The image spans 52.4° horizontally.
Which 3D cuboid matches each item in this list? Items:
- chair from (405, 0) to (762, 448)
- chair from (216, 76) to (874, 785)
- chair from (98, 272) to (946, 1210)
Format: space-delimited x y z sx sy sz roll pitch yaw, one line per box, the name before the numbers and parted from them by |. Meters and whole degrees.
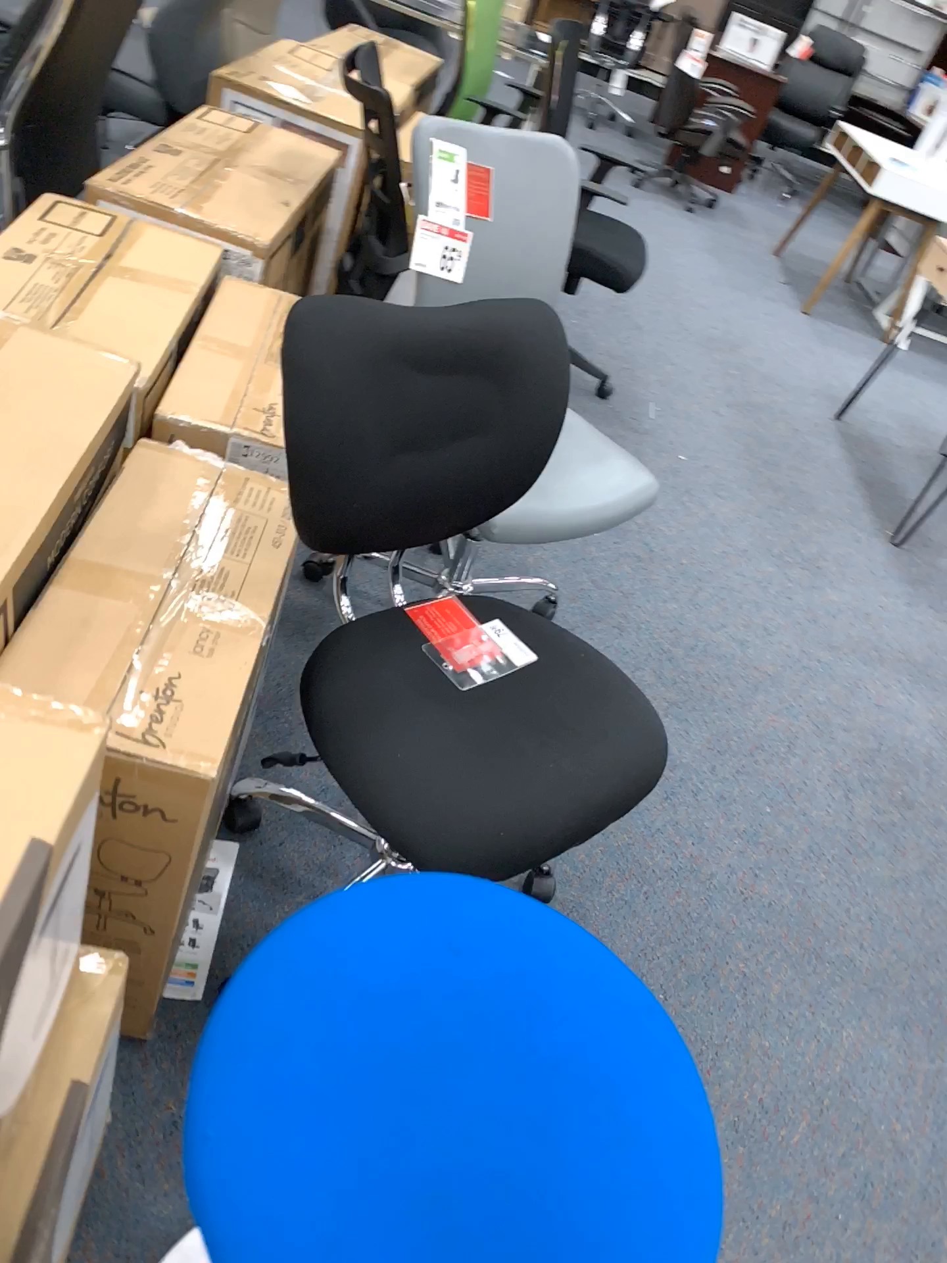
chair | 0.345 -1.359 3.144 0.707 0.988 0.983 20 37 -3
chair | 0.075 -0.394 1.884 0.740 0.959 0.708 -22 55 -43
chair | -0.018 0.102 1.279 0.649 0.879 0.658 -16 51 -39
